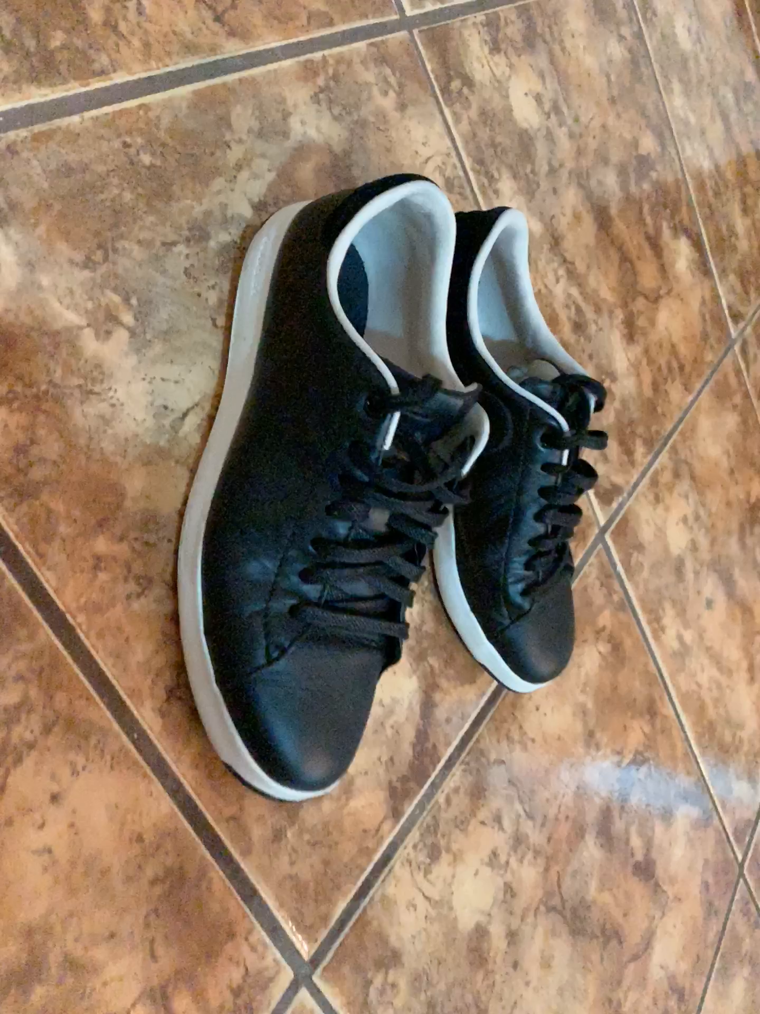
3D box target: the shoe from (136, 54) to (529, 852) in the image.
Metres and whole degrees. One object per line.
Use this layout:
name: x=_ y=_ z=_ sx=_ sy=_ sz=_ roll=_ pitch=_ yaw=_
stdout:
shoe: x=-0.011 y=-0.017 z=0.299 sx=0.088 sy=0.093 sz=0.255 roll=18 pitch=71 yaw=-44

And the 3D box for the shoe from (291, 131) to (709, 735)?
shoe: x=0.064 y=-0.030 z=0.380 sx=0.090 sy=0.103 sz=0.255 roll=-29 pitch=104 yaw=-45
